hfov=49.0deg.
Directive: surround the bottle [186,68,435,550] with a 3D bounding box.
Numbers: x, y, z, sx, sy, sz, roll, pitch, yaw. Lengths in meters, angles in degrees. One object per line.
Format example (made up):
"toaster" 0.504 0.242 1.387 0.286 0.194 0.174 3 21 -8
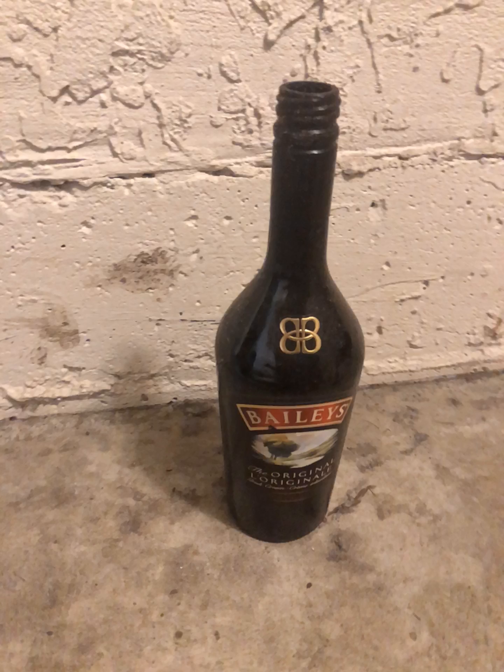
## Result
"bottle" 0.021 0.003 0.306 0.090 0.258 0.081 -4 36 -3
